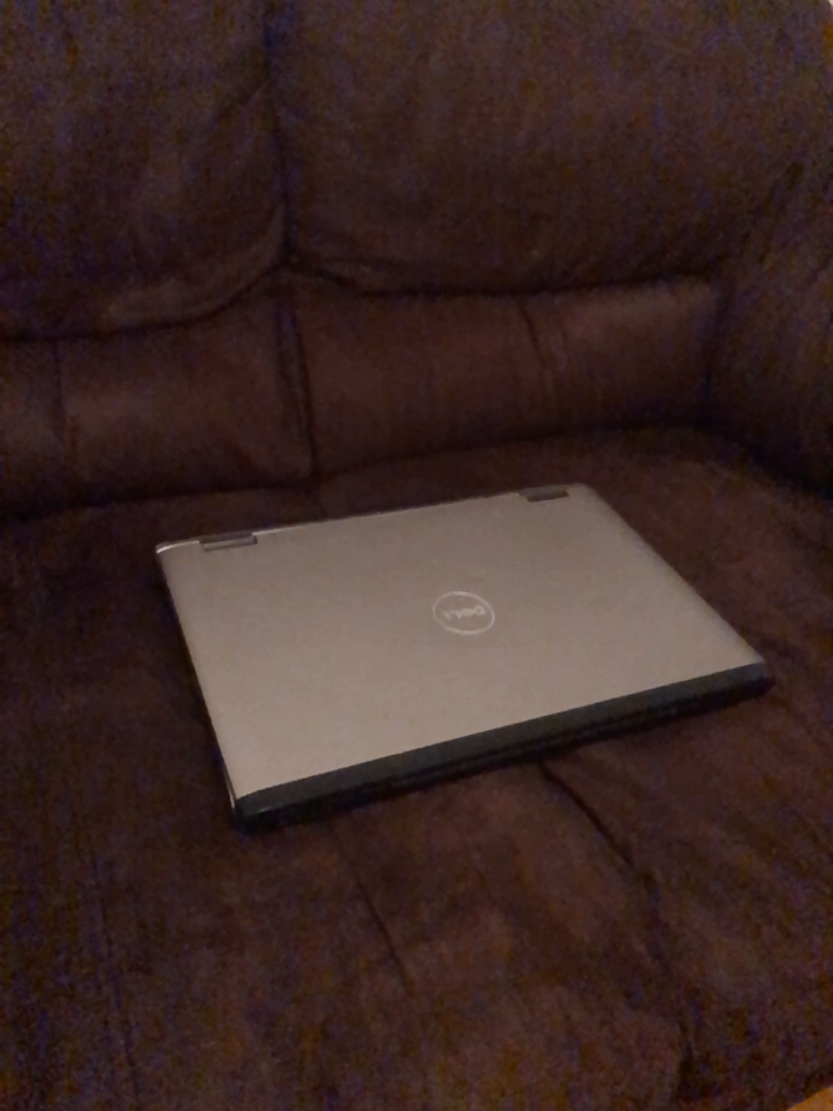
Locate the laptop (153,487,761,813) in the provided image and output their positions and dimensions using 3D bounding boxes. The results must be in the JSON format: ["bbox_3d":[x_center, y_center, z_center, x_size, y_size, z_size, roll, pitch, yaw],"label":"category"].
[{"bbox_3d":[0.023,0.039,0.669,0.370,0.002,0.261,-9,38,-24],"label":"laptop"}]
